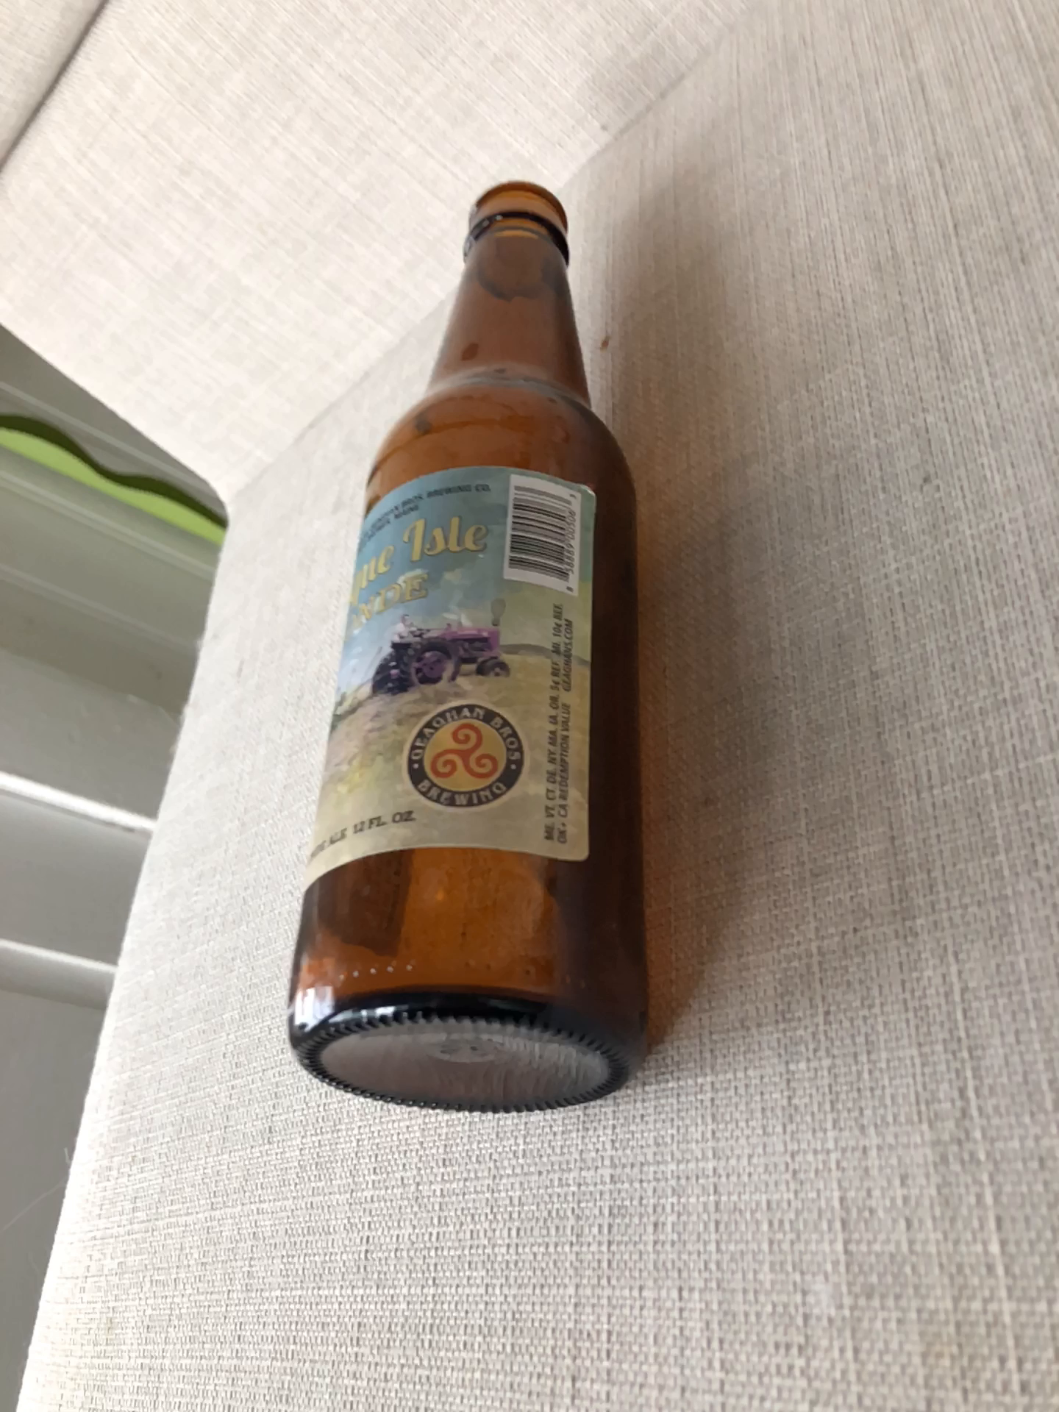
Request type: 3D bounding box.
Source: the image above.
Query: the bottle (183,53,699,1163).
[{"bbox_3d":[-0.013,-0.033,0.252,0.065,0.060,0.231,-42,37,48],"label":"bottle"}]
